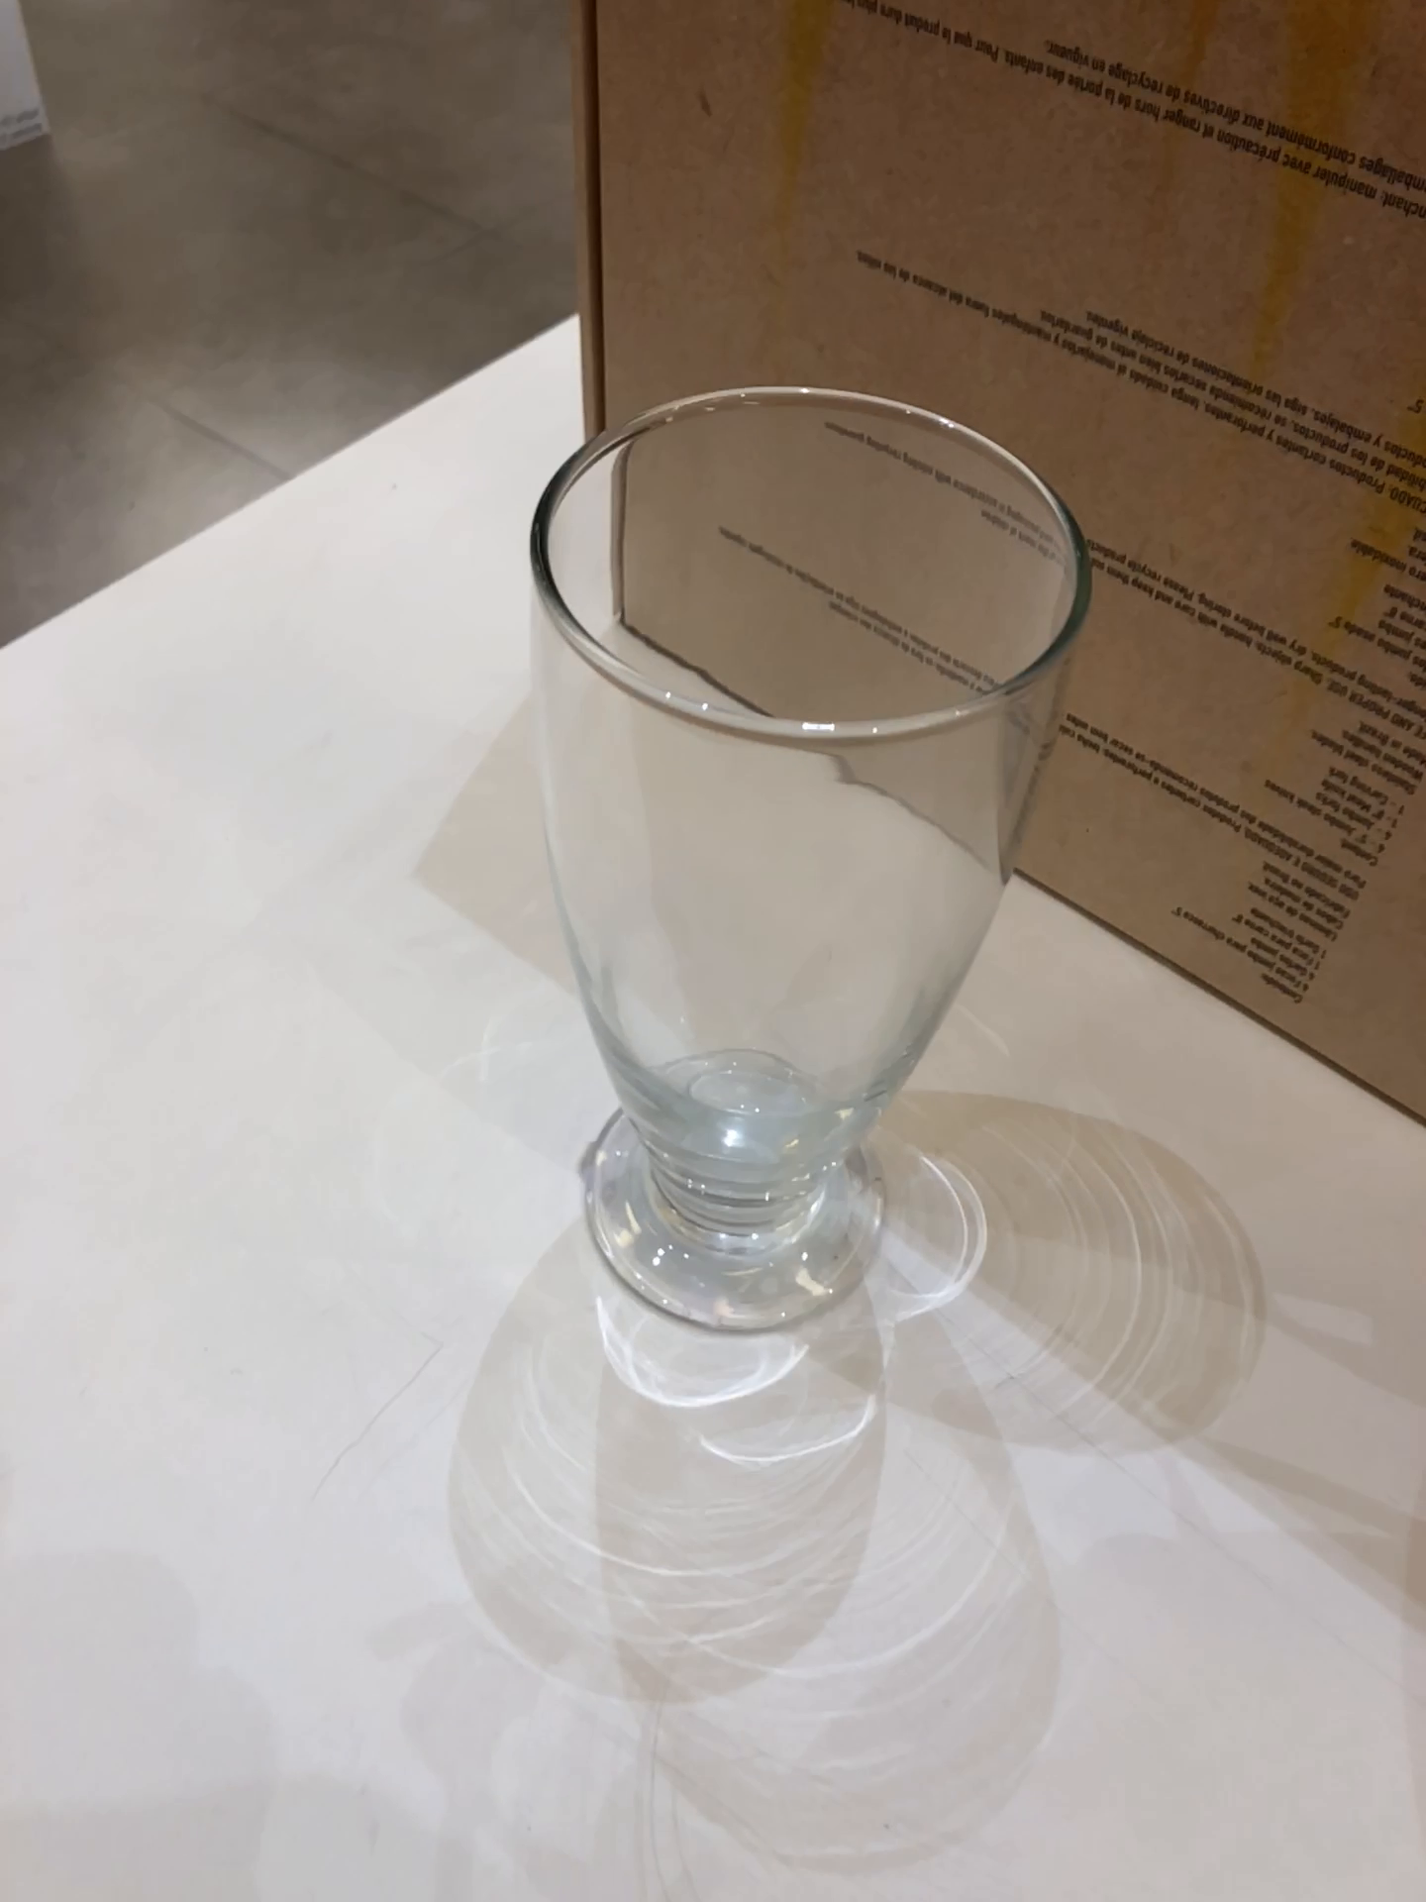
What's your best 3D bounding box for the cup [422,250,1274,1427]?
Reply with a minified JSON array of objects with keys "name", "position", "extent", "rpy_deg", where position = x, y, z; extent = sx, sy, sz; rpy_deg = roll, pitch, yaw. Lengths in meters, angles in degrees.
[{"name":"cup","position":[0.015,-0.008,0.294],"extent":[0.090,0.189,0.080],"rpy_deg":[33,55,22]}]
